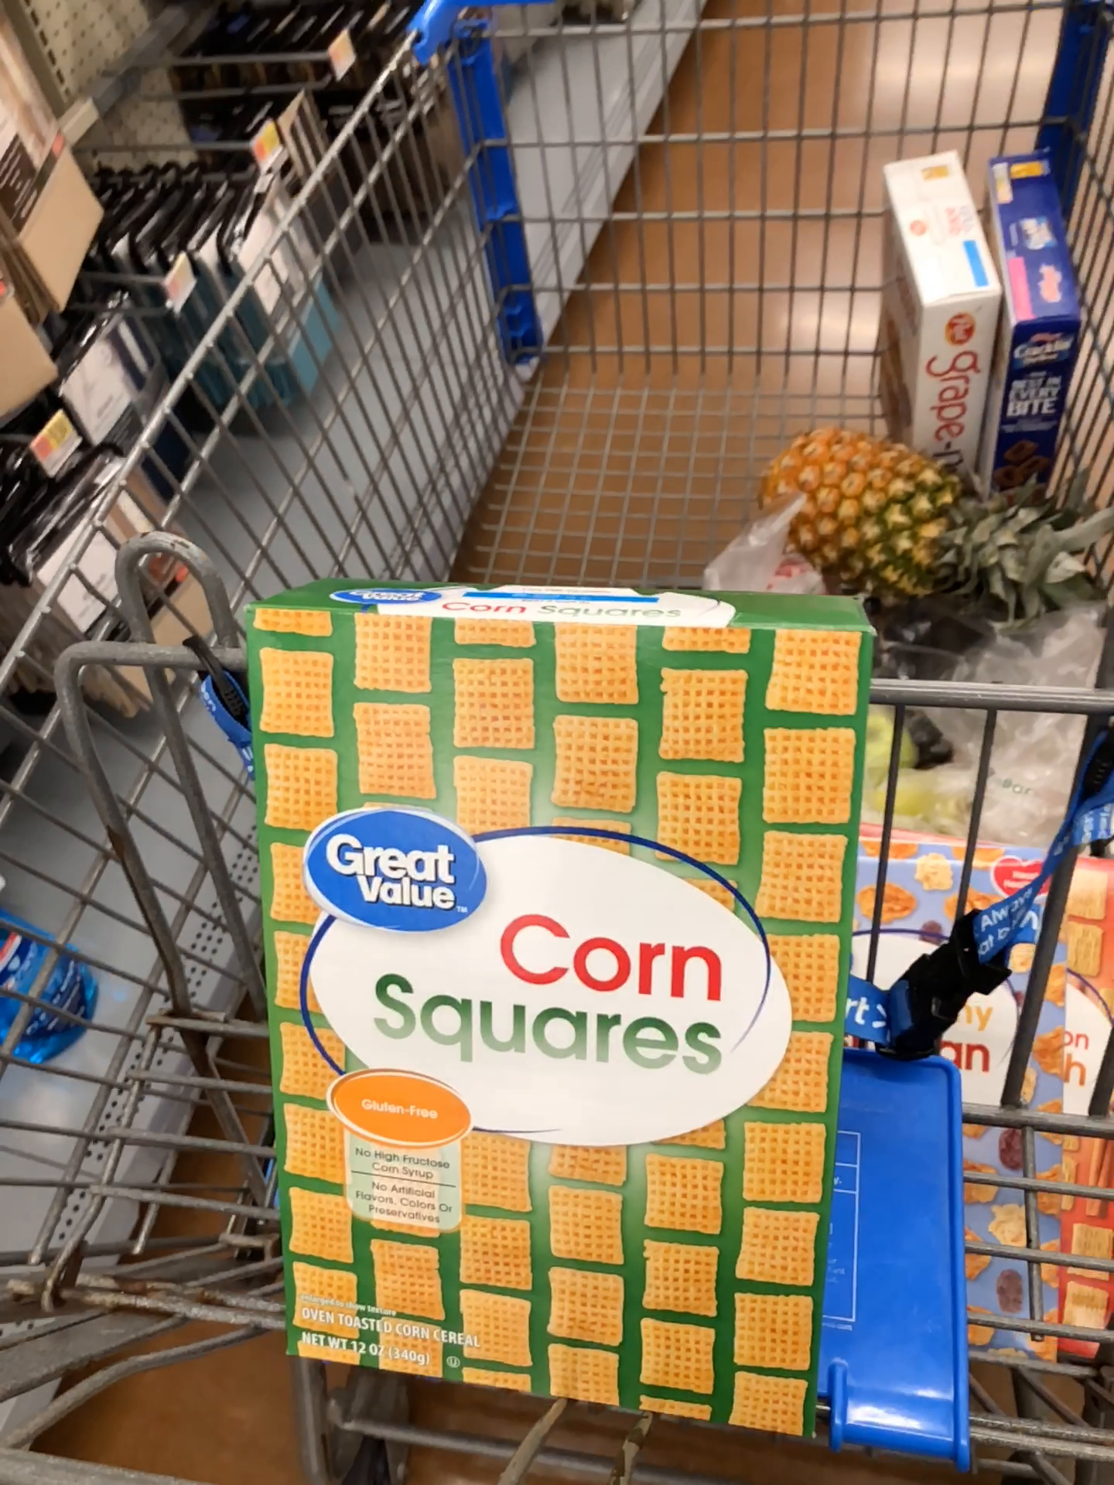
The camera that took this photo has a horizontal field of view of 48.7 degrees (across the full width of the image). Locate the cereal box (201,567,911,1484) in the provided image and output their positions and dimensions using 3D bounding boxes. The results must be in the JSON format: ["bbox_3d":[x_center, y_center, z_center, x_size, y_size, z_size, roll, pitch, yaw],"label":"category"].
[{"bbox_3d":[0.001,0.088,0.408,0.200,0.280,0.070,3,15,11],"label":"cereal box"}]
